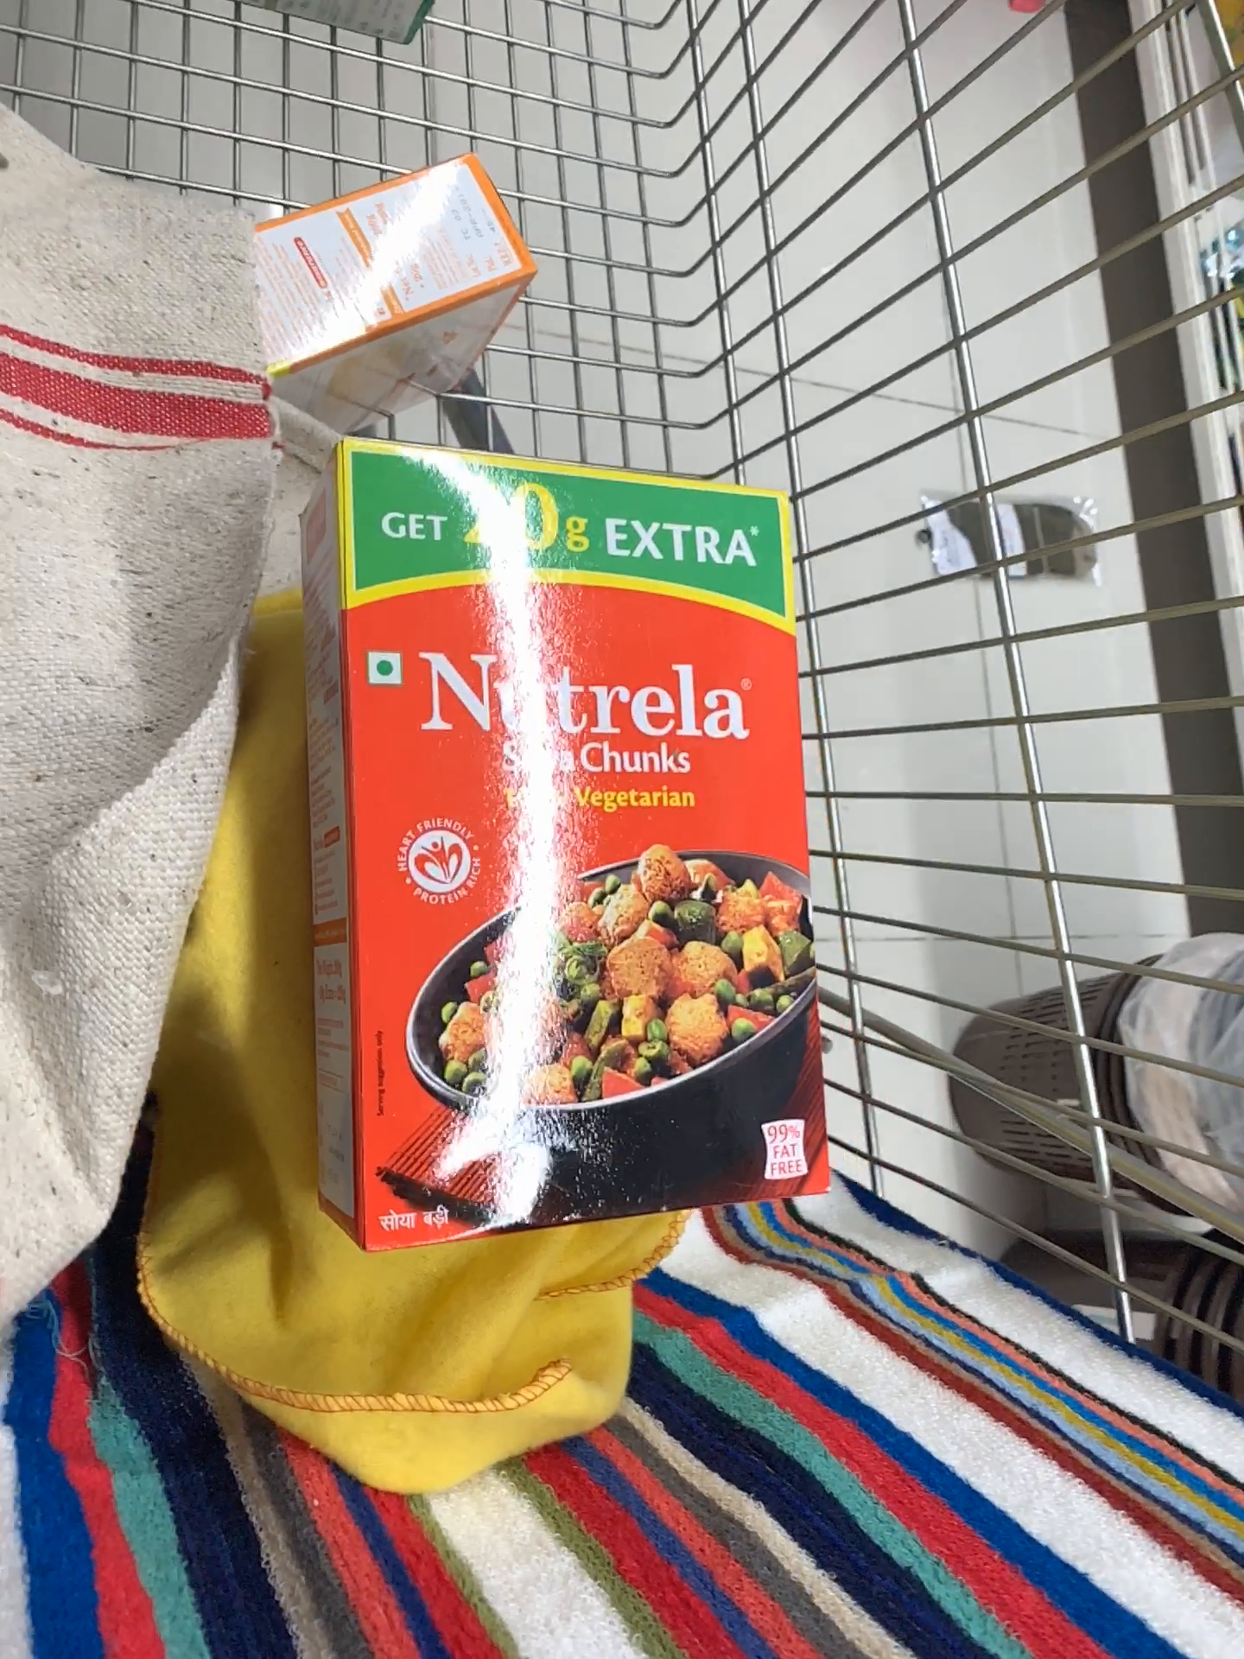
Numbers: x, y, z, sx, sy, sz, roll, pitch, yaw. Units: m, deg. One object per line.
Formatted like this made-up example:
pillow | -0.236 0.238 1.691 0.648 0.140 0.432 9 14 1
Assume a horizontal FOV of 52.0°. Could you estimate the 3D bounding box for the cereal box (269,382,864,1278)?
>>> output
cereal box | -0.016 0.000 0.305 0.120 0.060 0.180 -1 83 -24
